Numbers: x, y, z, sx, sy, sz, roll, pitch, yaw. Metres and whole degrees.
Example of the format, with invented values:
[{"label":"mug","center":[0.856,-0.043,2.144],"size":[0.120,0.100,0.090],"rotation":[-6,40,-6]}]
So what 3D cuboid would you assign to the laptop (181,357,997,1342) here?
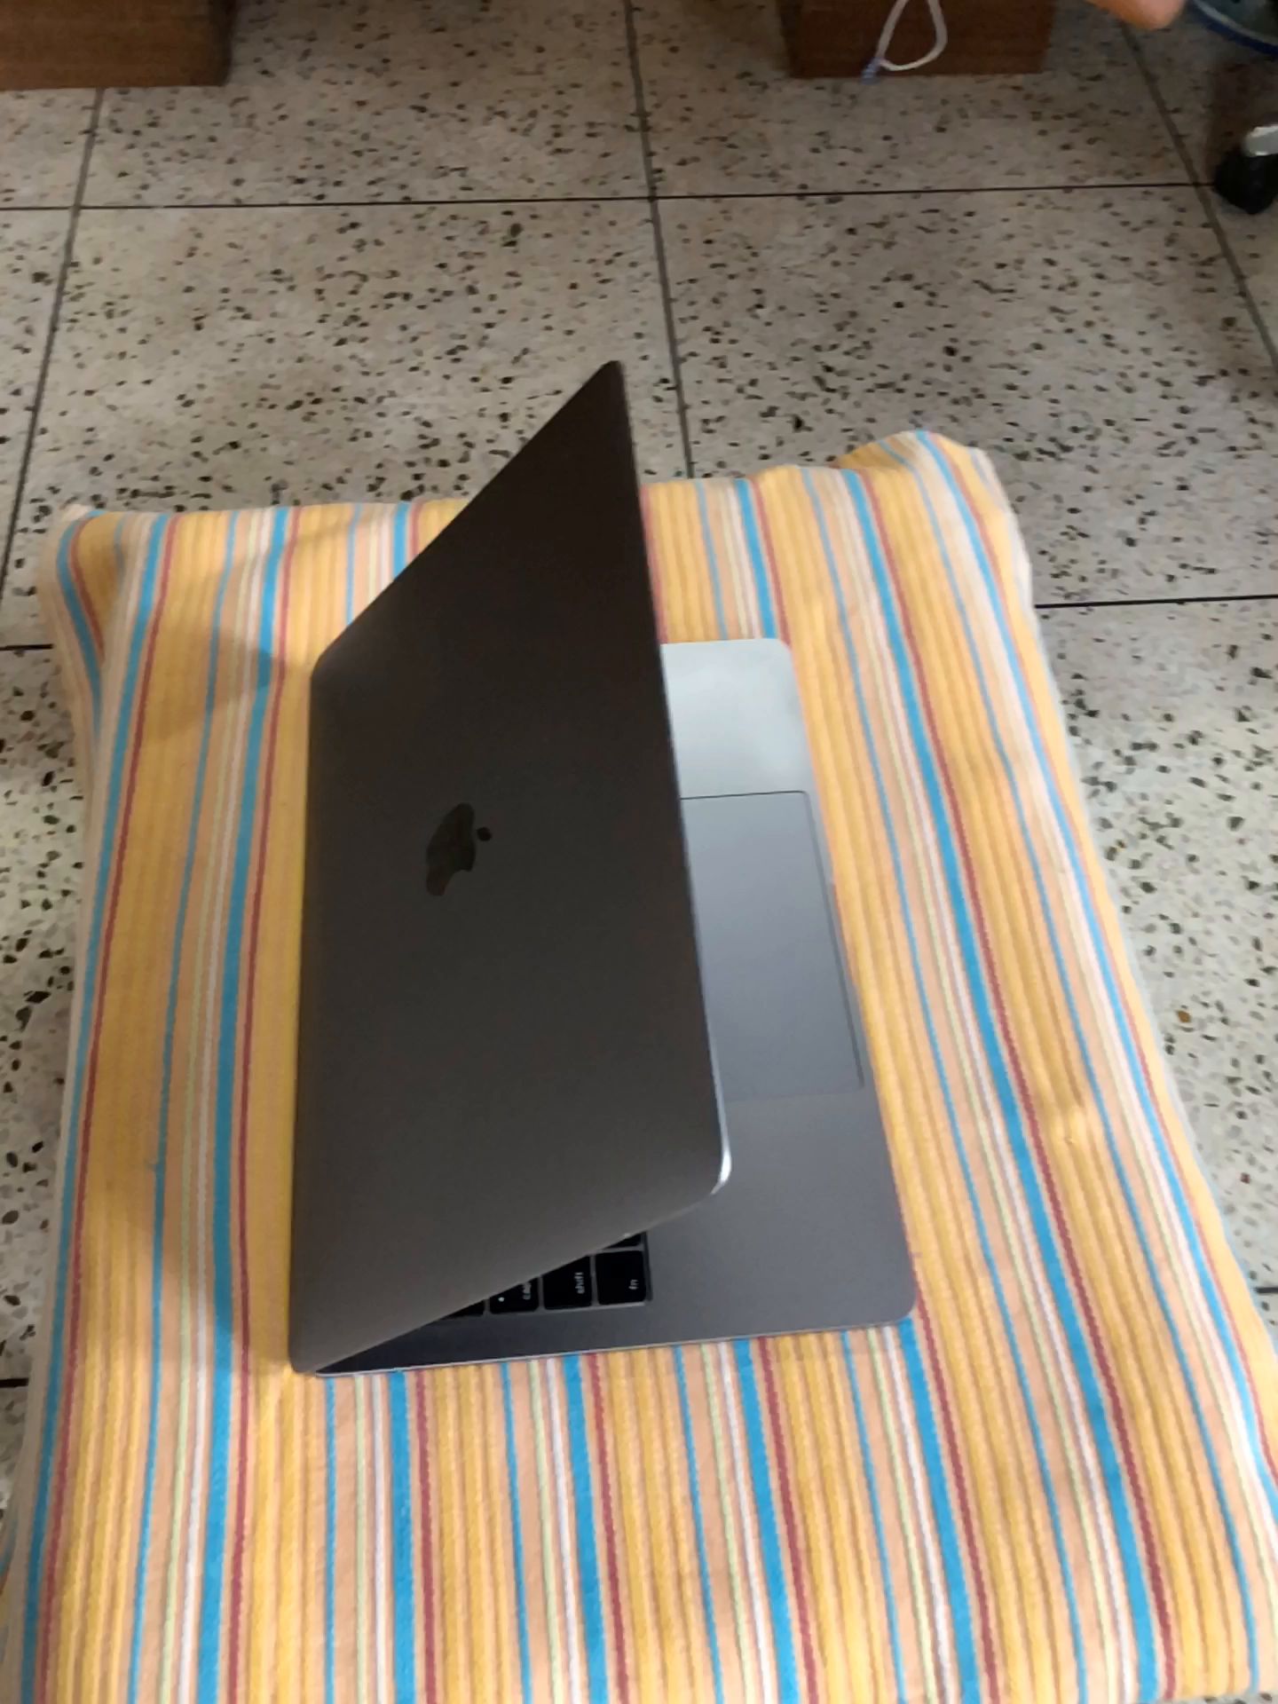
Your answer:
[{"label":"laptop","center":[-0.023,-0.006,0.494],"size":[0.203,0.160,0.295],"rotation":[-3,59,-4]}]
